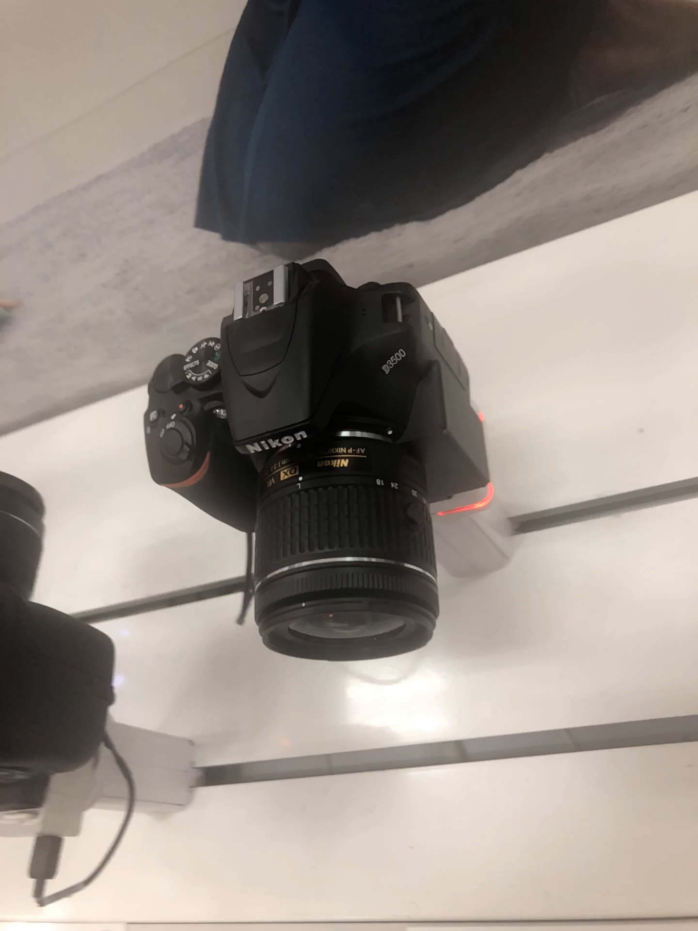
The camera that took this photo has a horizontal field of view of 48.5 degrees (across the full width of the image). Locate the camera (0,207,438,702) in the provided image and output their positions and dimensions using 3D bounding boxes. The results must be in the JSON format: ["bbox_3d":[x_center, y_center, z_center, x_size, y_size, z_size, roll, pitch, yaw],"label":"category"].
[{"bbox_3d":[-0.053,0.007,0.289,0.140,0.090,0.130,-15,59,24],"label":"camera"}]
